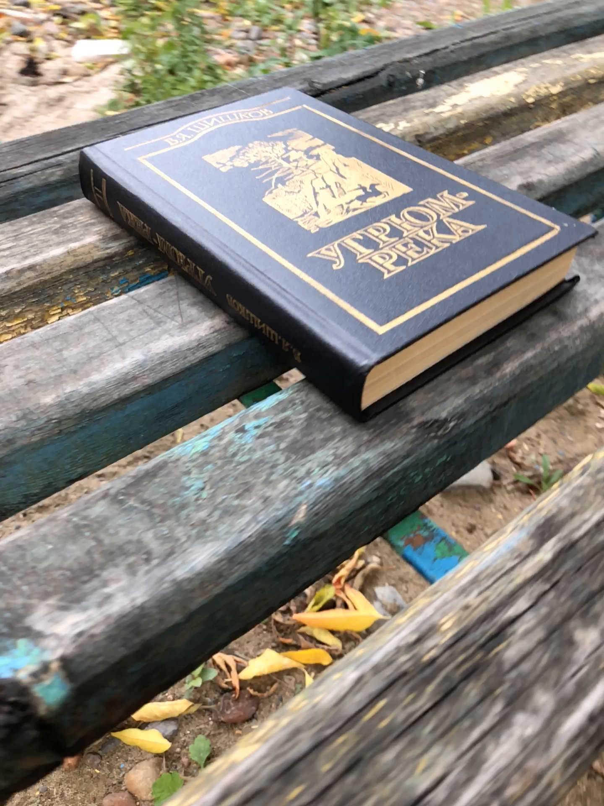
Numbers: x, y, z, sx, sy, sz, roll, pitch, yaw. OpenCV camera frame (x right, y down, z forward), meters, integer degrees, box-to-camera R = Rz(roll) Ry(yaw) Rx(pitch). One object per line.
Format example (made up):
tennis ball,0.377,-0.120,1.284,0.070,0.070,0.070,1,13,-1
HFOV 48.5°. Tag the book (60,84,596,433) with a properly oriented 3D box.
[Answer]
book,0.002,-0.088,0.313,0.138,0.030,0.211,-30,52,-28
